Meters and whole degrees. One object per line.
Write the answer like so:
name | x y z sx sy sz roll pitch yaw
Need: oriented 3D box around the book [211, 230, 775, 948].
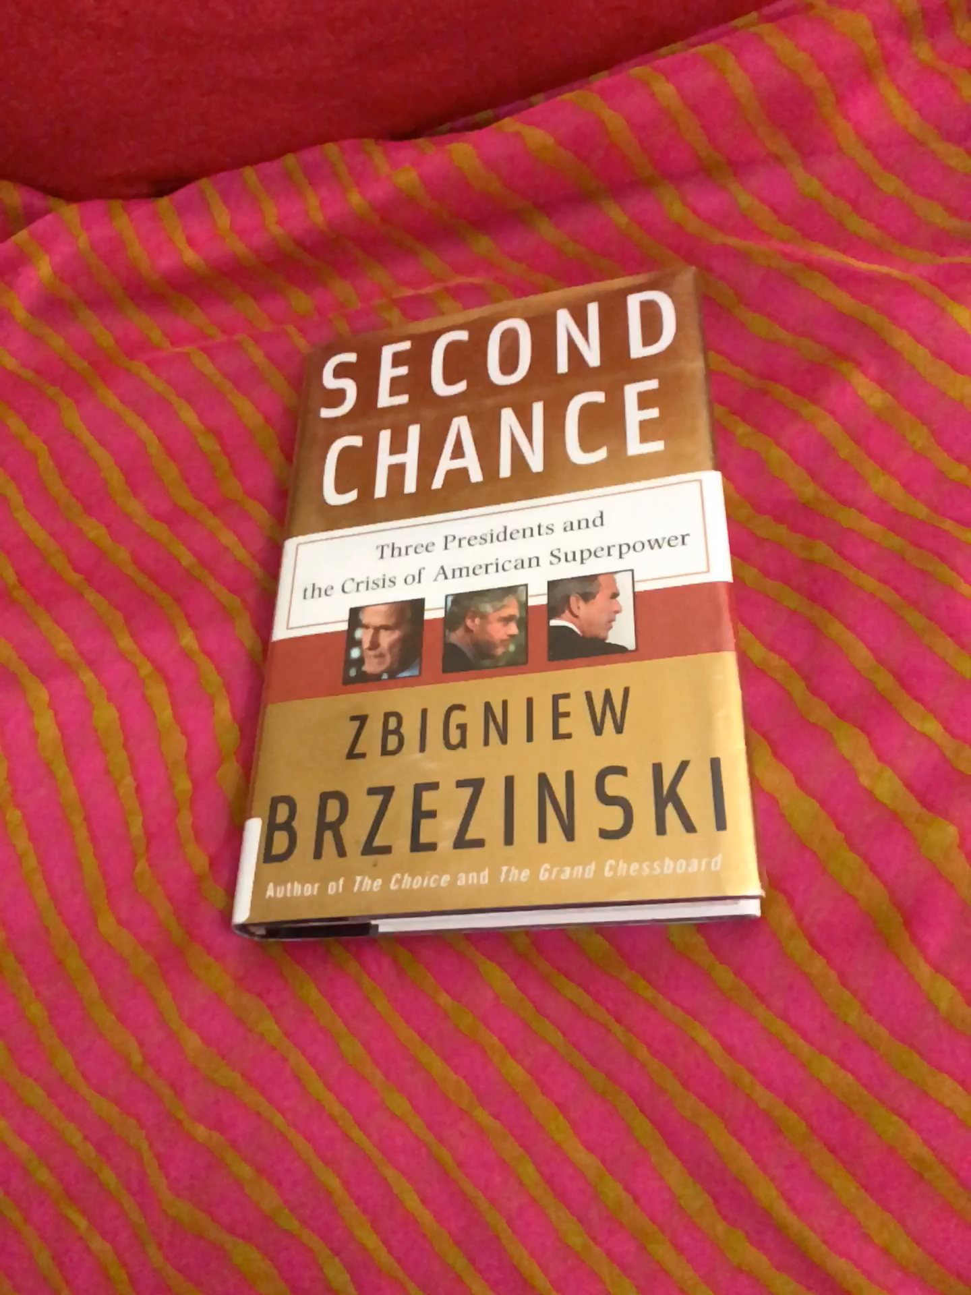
book | 0.001 -0.020 0.320 0.140 0.037 0.200 -9 61 19
